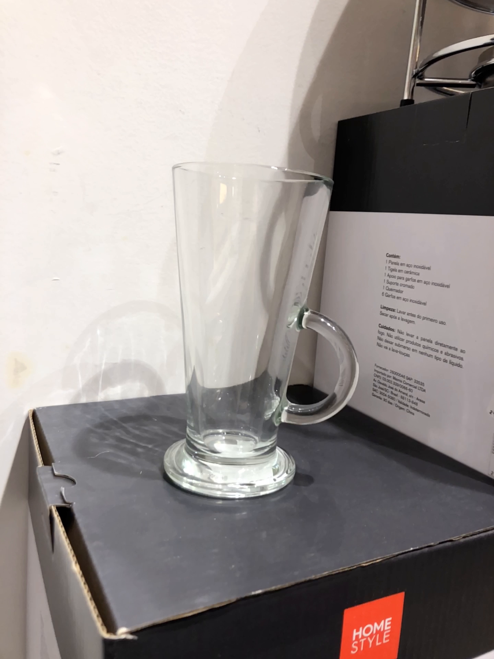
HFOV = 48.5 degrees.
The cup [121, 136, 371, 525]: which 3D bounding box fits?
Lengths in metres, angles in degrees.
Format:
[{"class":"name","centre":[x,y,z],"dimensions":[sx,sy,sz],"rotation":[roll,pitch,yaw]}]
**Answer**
[{"class":"cup","centre":[0.003,-0.005,0.261],"dimensions":[0.090,0.149,0.080],"rotation":[7,11,14]}]
